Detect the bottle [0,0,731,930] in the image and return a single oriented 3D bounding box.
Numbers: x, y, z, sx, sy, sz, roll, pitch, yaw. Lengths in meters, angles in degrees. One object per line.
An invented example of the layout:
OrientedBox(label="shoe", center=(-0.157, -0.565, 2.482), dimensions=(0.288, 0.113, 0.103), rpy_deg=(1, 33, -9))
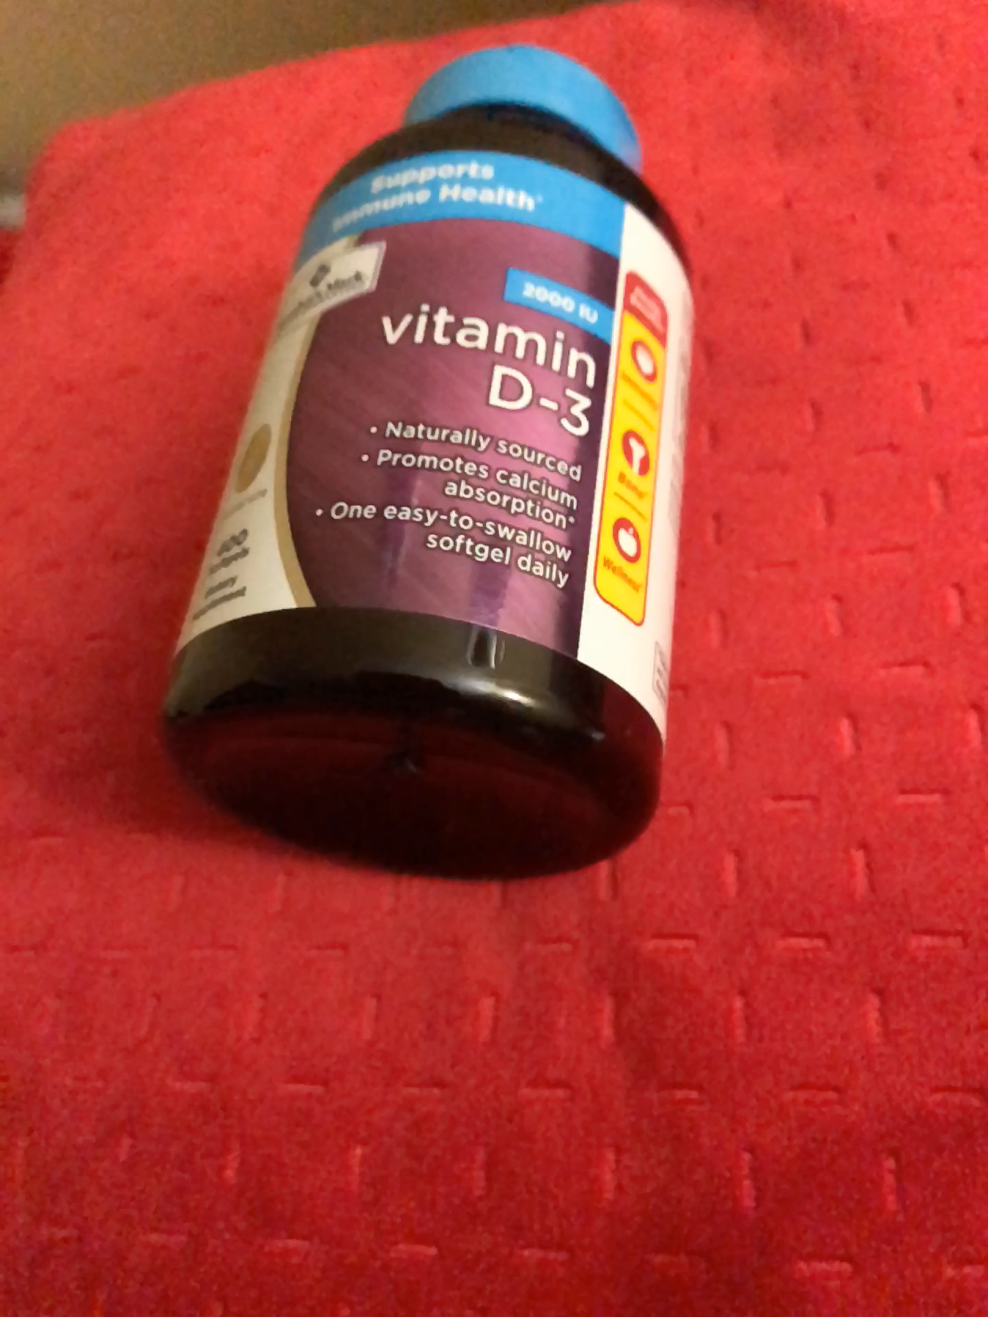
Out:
OrientedBox(label="bottle", center=(-0.009, -0.042, 0.154), dimensions=(0.070, 0.060, 0.140), rpy_deg=(-3, 62, 20))
